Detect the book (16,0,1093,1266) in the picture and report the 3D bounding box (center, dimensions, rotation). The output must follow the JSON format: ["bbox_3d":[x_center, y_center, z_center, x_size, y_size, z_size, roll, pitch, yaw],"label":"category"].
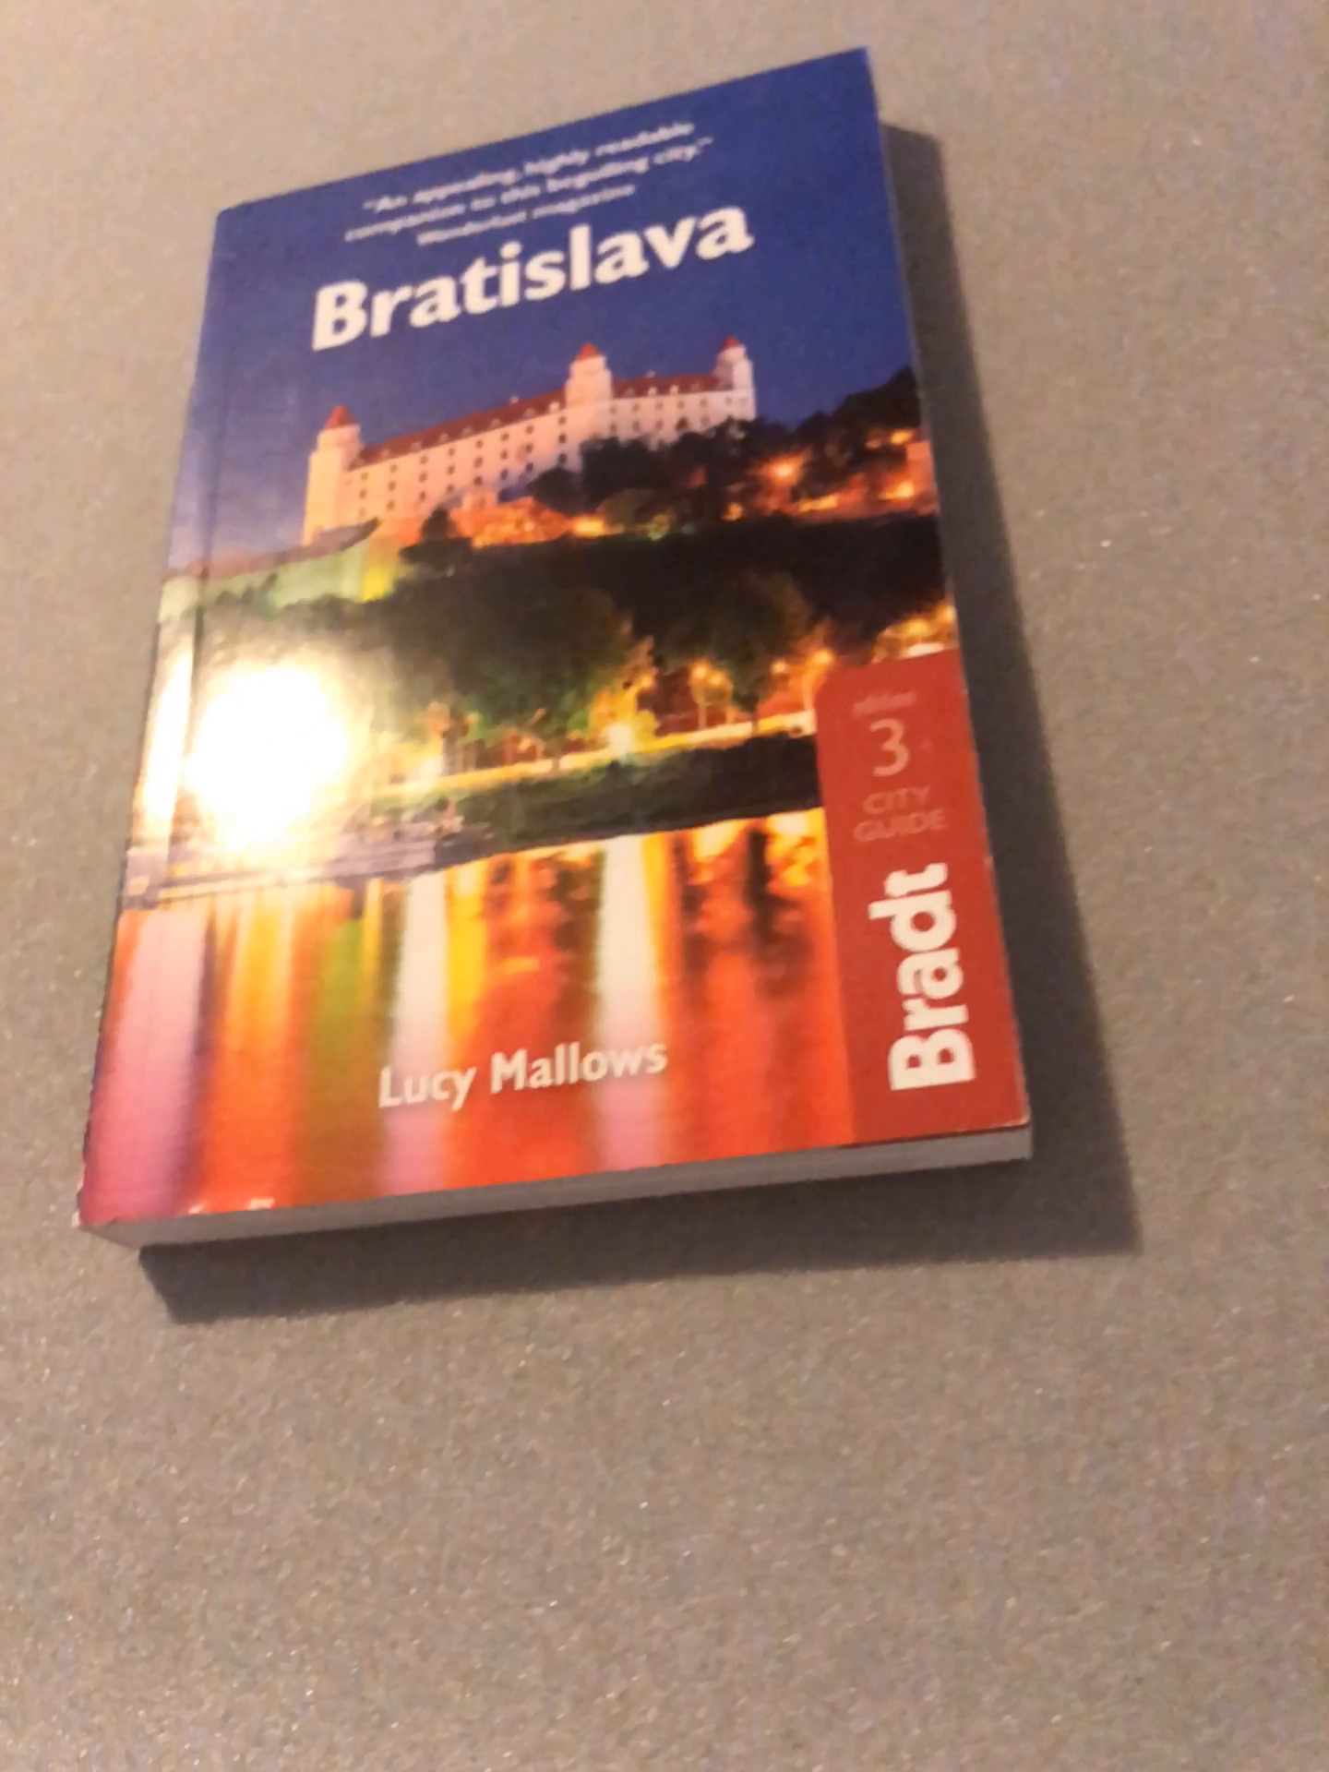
[{"bbox_3d":[-0.020,-0.053,0.239,0.140,0.020,0.210,-9,63,14],"label":"book"}]
